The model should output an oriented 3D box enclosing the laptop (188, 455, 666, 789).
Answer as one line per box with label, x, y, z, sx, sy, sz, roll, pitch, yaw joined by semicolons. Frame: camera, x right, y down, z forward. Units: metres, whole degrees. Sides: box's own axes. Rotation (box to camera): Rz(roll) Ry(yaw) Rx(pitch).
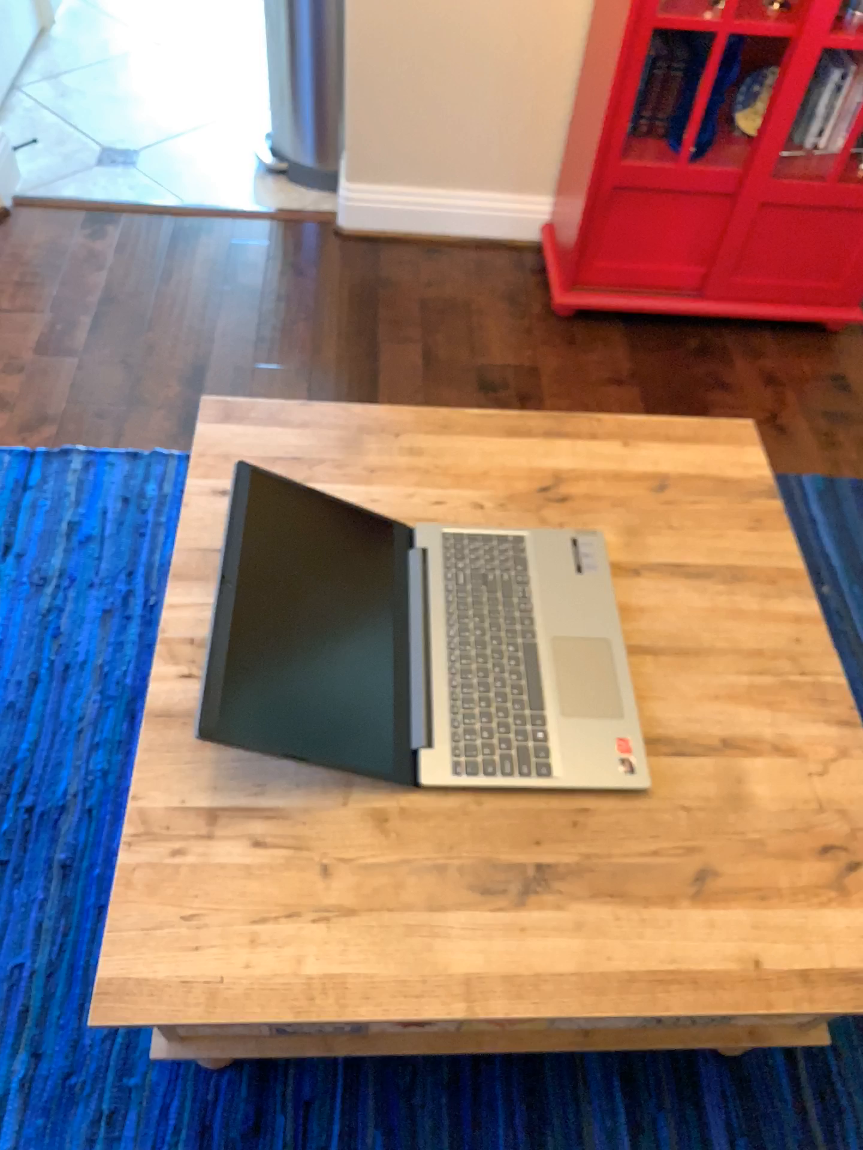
laptop;-0.007;0.046;0.995;0.460;0.099;0.347;4;53;-7
